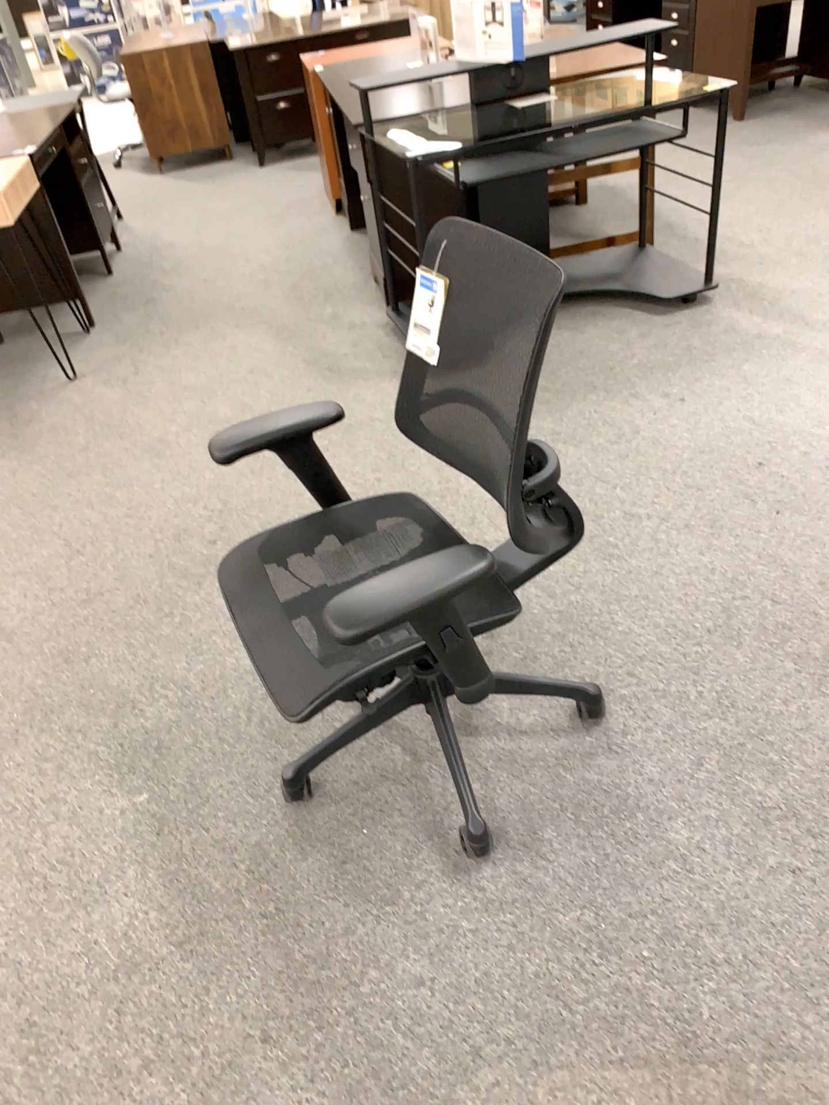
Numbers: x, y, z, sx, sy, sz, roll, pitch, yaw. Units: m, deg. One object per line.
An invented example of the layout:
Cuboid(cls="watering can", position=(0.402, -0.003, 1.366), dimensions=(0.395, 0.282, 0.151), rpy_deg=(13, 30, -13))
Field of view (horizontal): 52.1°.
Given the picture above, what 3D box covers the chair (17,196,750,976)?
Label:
Cuboid(cls="chair", position=(-0.053, -0.017, 1.431), dimensions=(0.761, 0.806, 0.764), rpy_deg=(-26, 40, -20))
